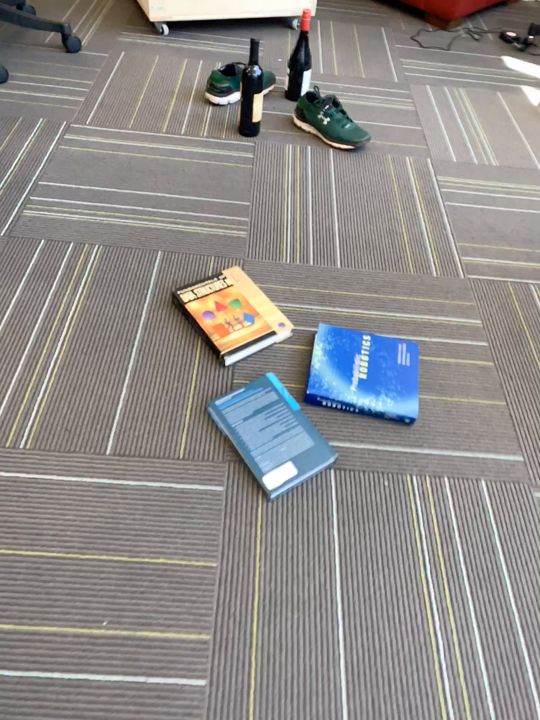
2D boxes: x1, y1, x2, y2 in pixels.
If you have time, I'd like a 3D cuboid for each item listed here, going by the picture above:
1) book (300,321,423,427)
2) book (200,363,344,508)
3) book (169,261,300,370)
[{"bbox_3d":[0.204,0.025,1.191,0.245,0.040,0.206,11,49,3],"label":"book"},{"bbox_3d":[-0.001,0.136,1.068,0.170,0.040,0.248,-24,60,-25],"label":"book"},{"bbox_3d":[-0.084,-0.110,1.250,0.191,0.040,0.248,-25,57,-25],"label":"book"}]
